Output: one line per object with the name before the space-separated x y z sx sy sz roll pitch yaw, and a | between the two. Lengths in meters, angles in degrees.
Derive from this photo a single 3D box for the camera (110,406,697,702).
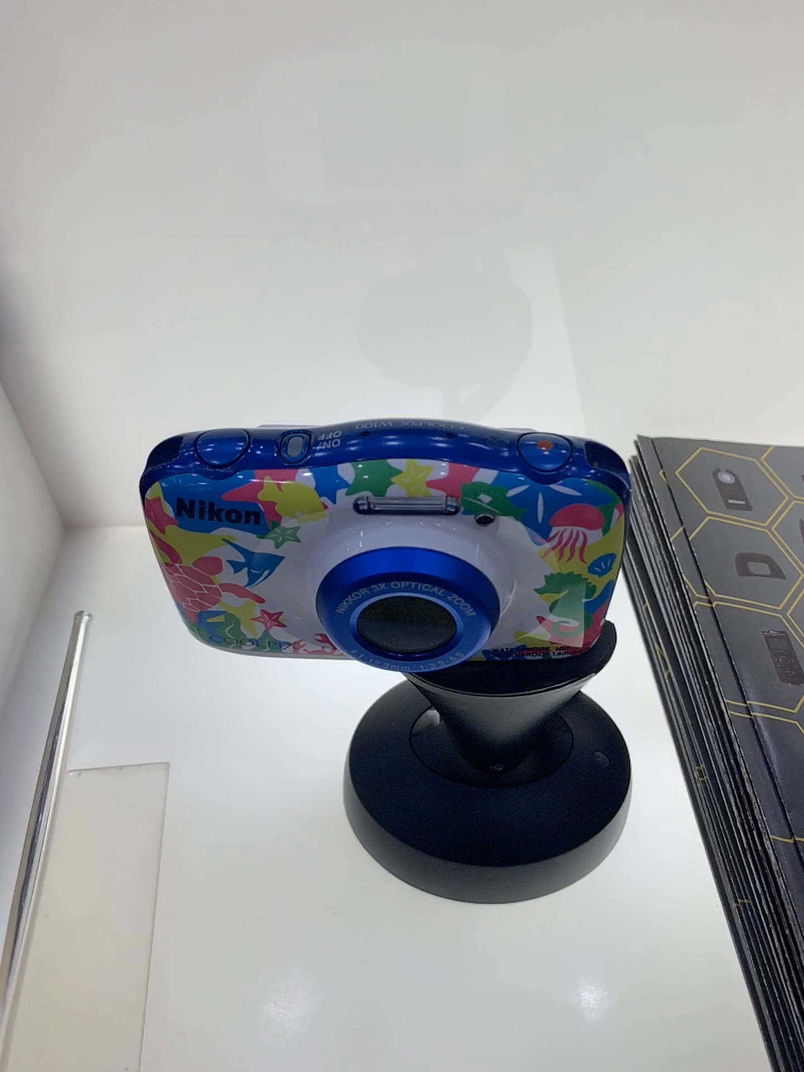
camera | 0.001 0.005 0.206 0.120 0.060 0.040 1 47 3
